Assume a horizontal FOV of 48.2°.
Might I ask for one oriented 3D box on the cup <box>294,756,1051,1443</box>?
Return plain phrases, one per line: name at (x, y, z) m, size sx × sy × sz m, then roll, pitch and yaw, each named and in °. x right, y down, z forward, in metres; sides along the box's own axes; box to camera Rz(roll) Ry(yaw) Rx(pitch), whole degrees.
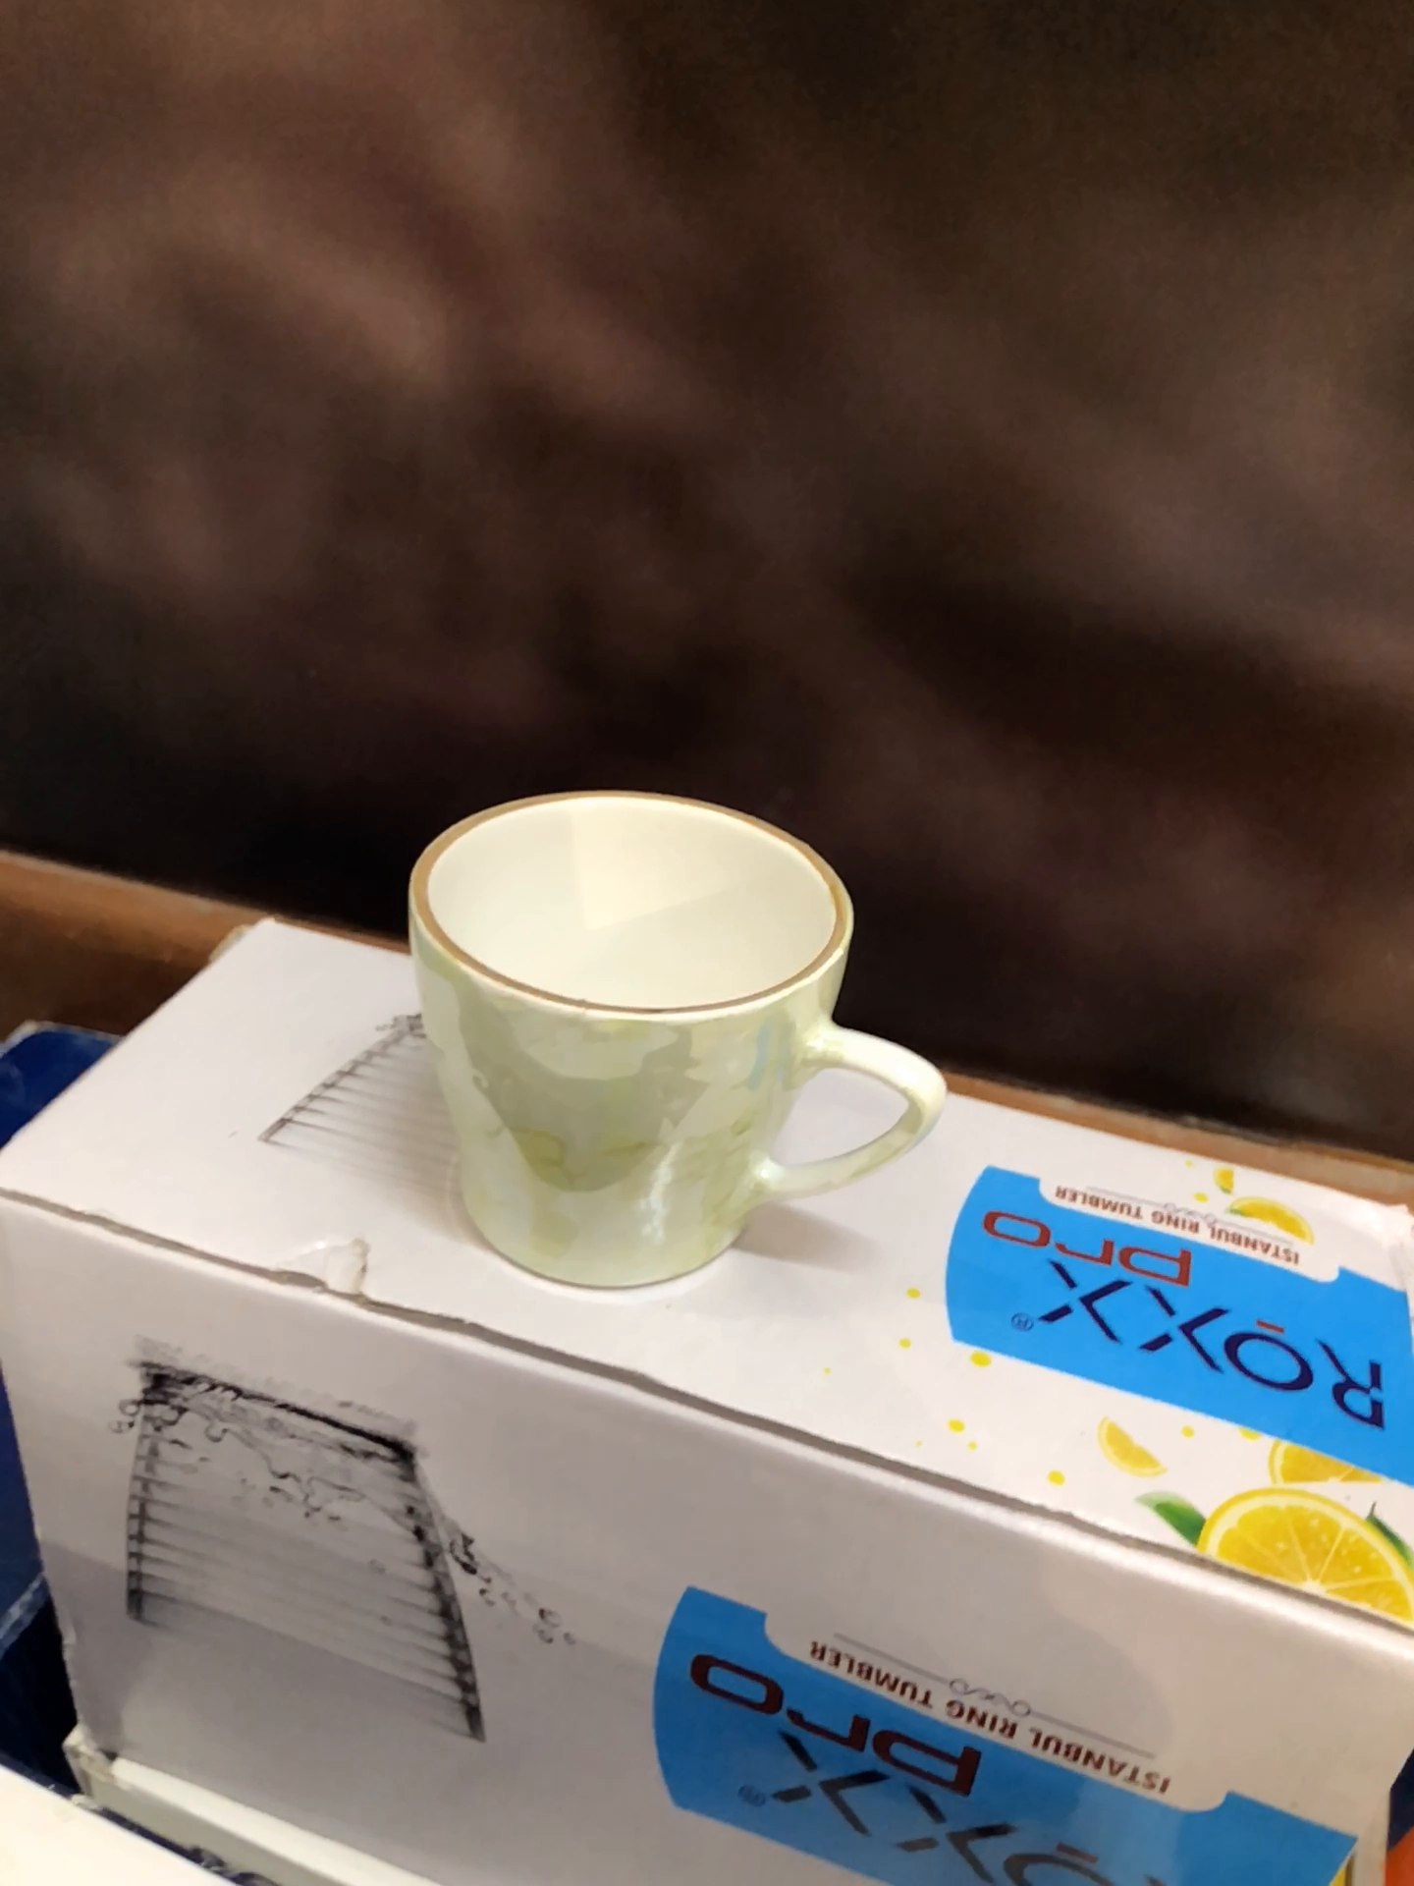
cup at (-0.003, 0.021, 0.257) m, size 0.100 × 0.060 × 0.070 m, roll 13°, pitch 34°, yaw 10°
